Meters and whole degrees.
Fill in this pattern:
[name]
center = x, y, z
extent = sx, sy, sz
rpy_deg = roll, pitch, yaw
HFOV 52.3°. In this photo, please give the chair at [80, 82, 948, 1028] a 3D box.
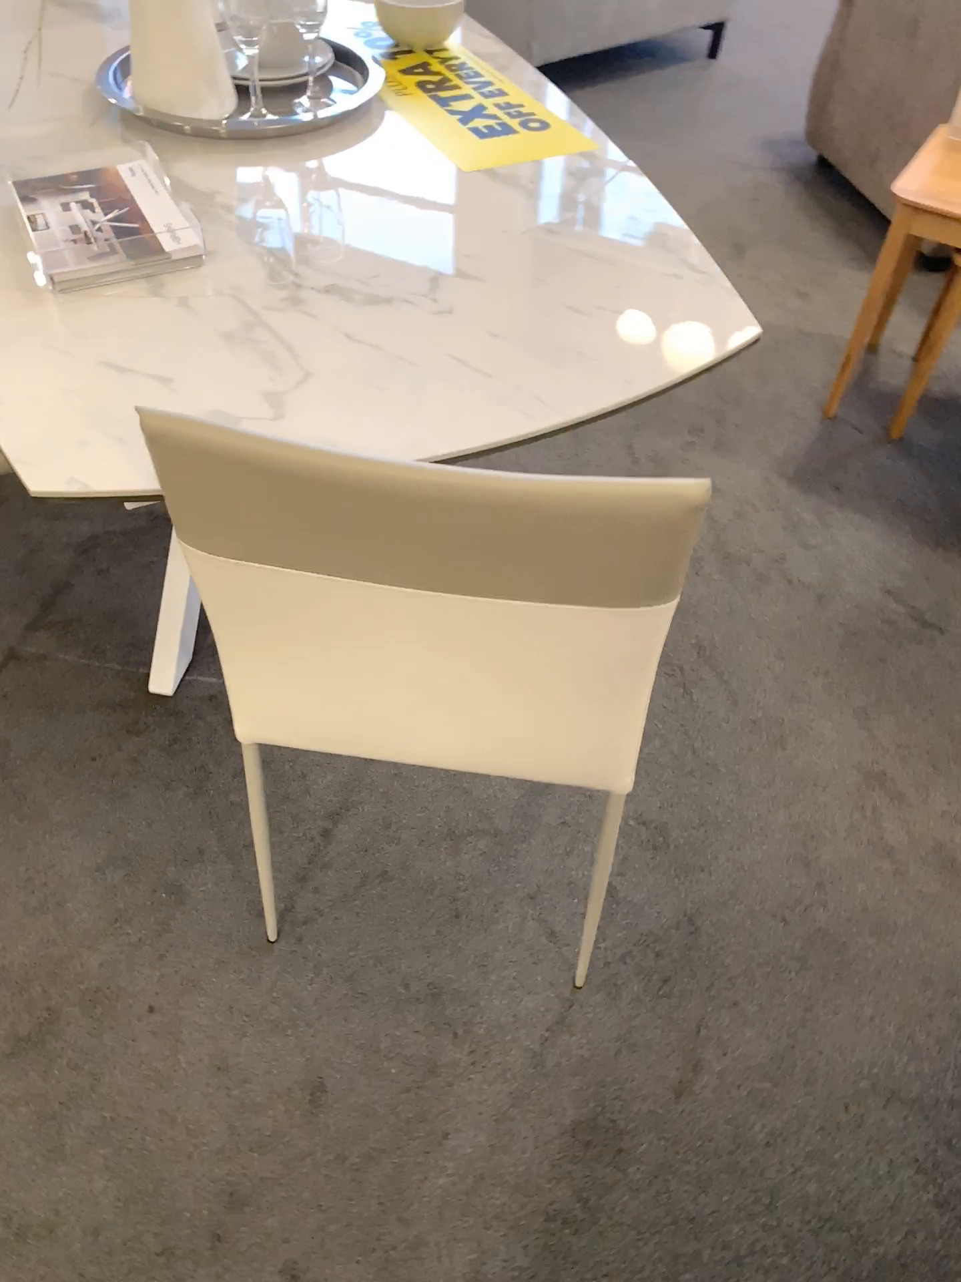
[chair]
center = 0.030, -0.049, 1.098
extent = 0.532, 0.823, 0.586
rpy_deg = 7, 48, 3
